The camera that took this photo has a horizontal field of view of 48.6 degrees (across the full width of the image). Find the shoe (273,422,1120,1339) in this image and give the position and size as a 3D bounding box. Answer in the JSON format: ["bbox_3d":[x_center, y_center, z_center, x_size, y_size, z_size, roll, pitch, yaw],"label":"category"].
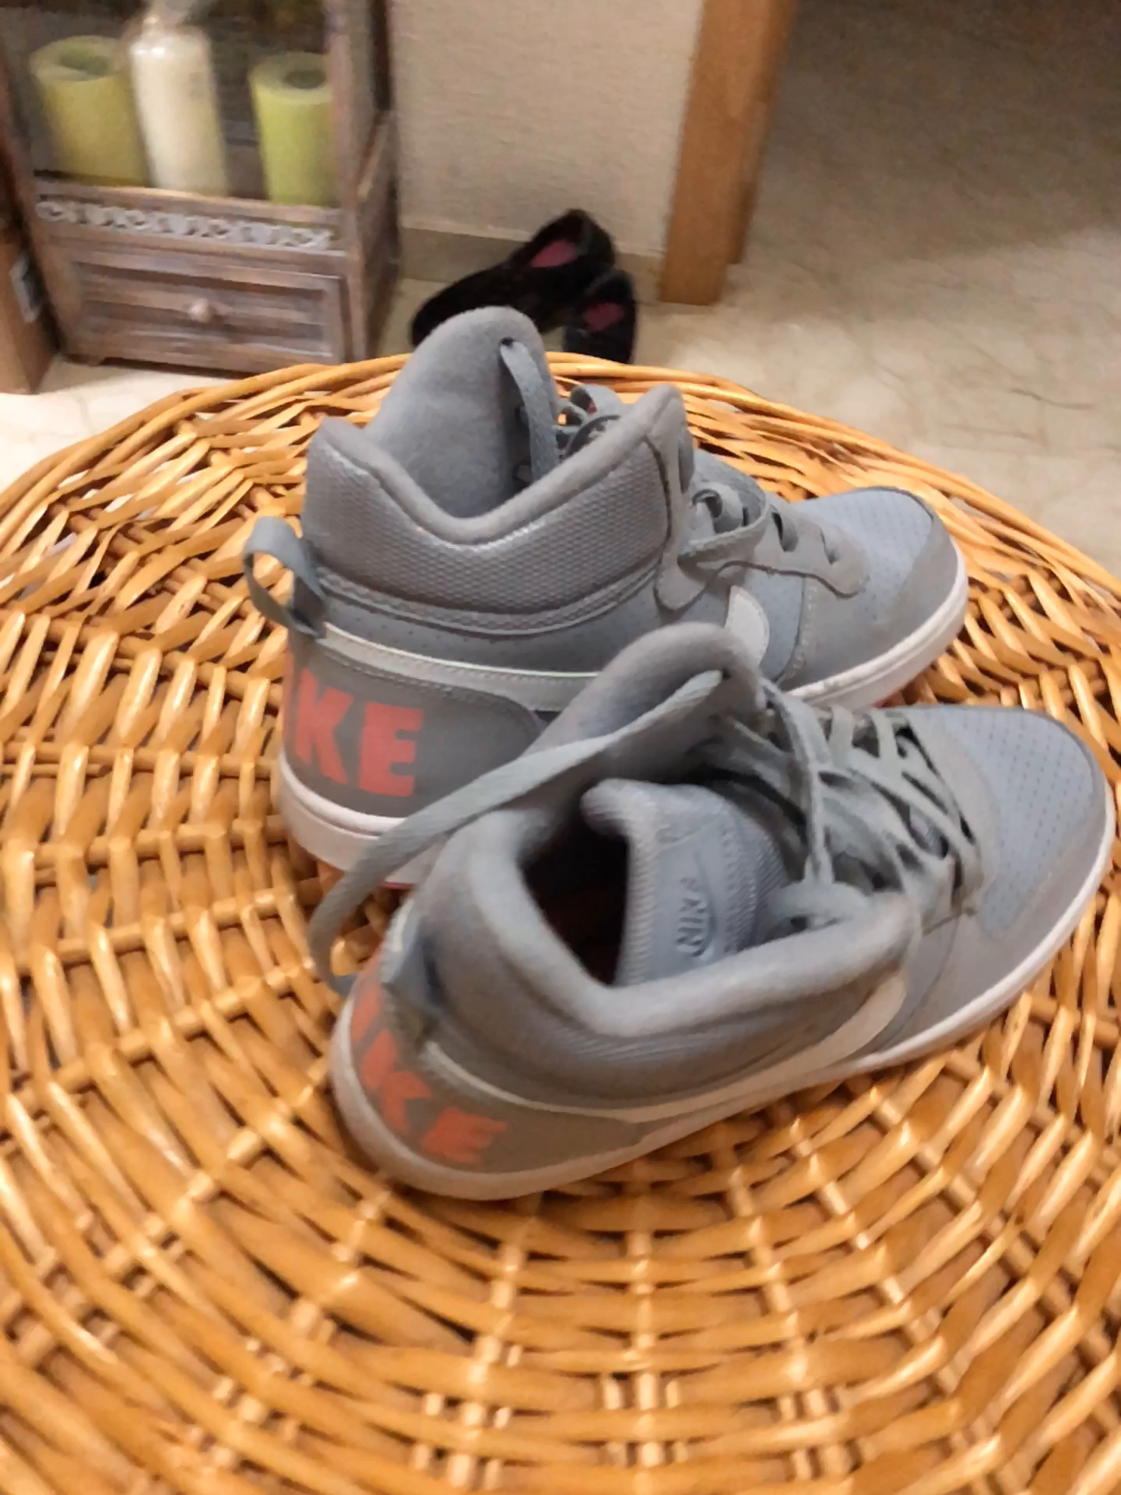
[{"bbox_3d":[0.068,0.021,0.313,0.251,0.120,0.105,-19,57,-25],"label":"shoe"}]

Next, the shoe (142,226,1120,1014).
[{"bbox_3d":[0.028,-0.049,0.365,0.248,0.117,0.099,-25,49,-22],"label":"shoe"}]
